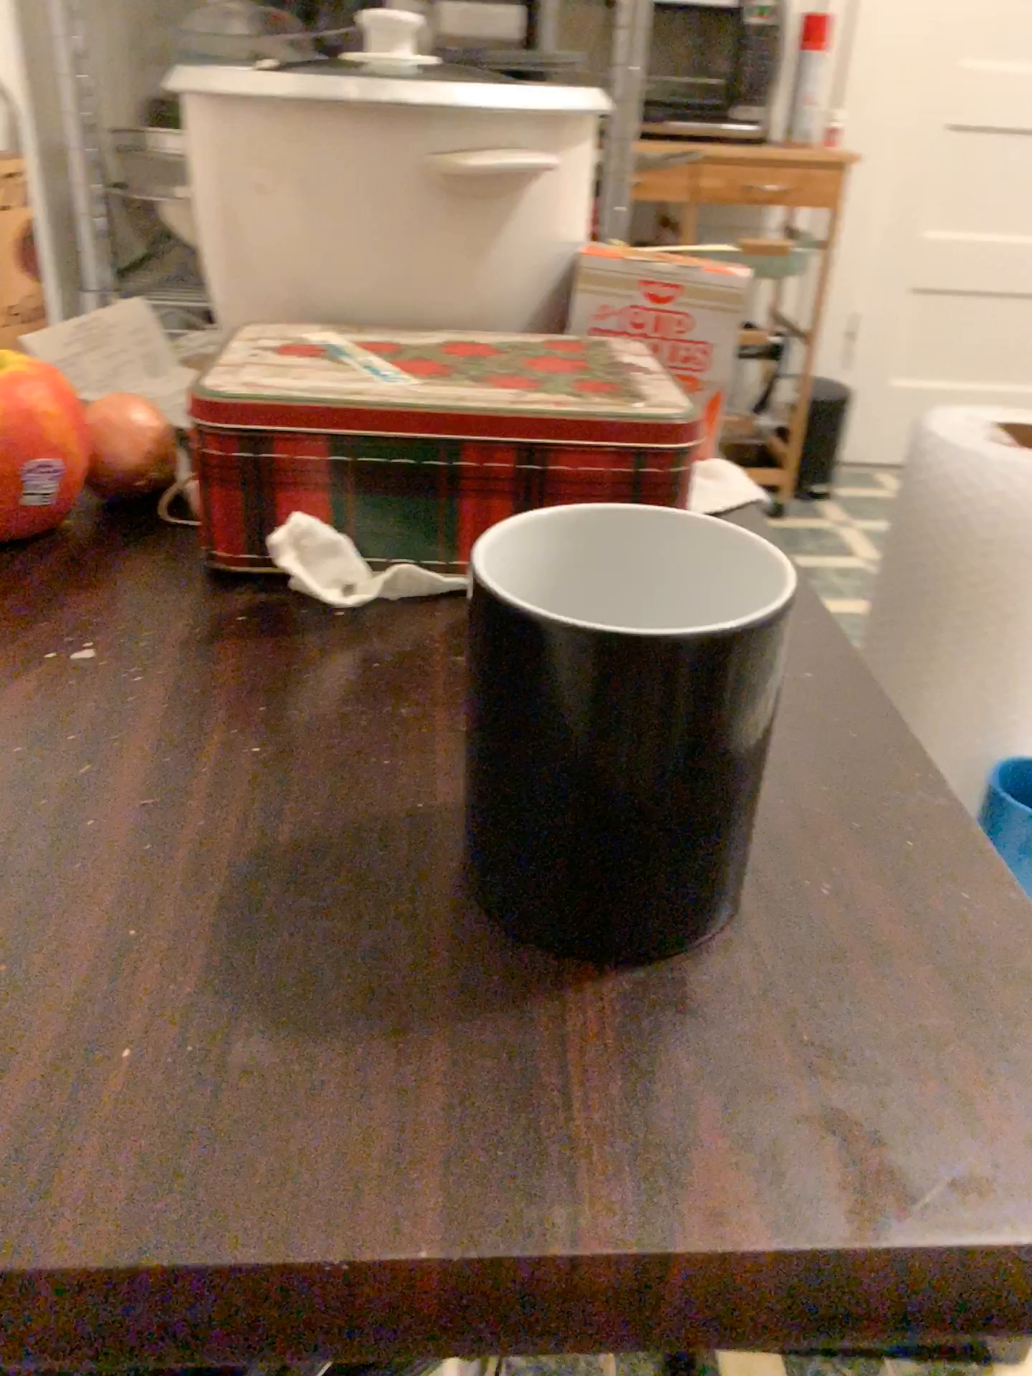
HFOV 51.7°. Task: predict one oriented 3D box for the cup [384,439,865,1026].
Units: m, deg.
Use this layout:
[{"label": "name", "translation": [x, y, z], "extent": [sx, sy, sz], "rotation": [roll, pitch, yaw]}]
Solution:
[{"label": "cup", "translation": [0.034, 0.001, 0.301], "extent": [0.080, 0.099, 0.130], "rotation": [17, 32, 23]}]
